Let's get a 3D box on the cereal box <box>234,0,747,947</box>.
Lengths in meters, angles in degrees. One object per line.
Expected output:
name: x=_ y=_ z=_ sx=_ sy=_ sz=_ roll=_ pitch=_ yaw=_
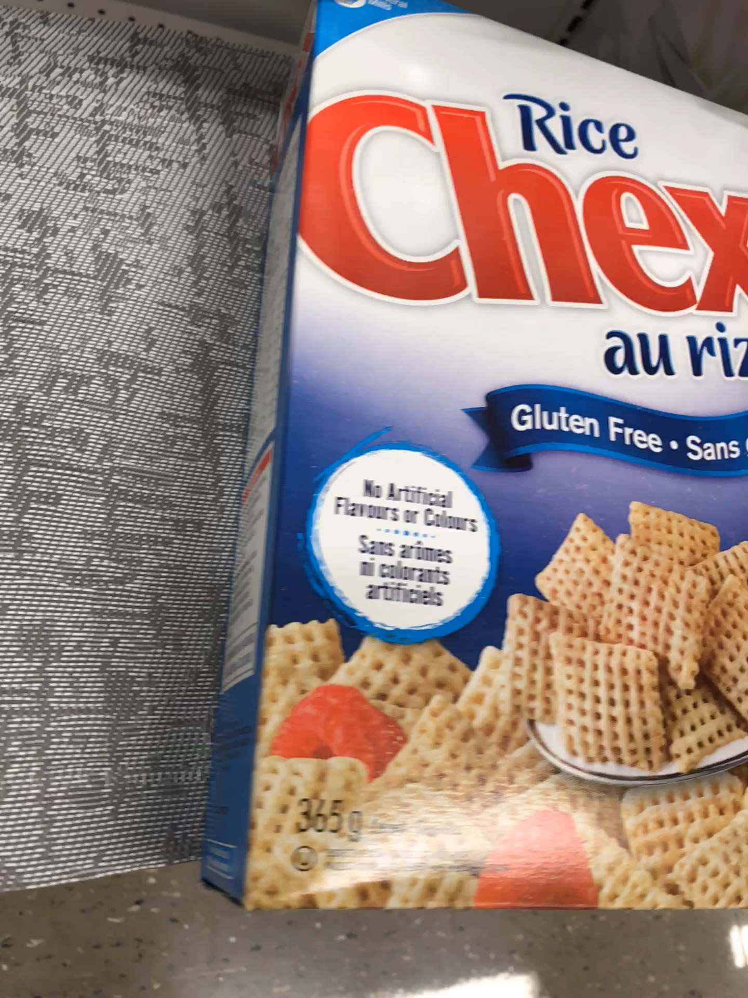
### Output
cereal box: x=0.076 y=-0.020 z=0.292 sx=0.210 sy=0.070 sz=0.300 roll=10 pitch=67 yaw=-20
